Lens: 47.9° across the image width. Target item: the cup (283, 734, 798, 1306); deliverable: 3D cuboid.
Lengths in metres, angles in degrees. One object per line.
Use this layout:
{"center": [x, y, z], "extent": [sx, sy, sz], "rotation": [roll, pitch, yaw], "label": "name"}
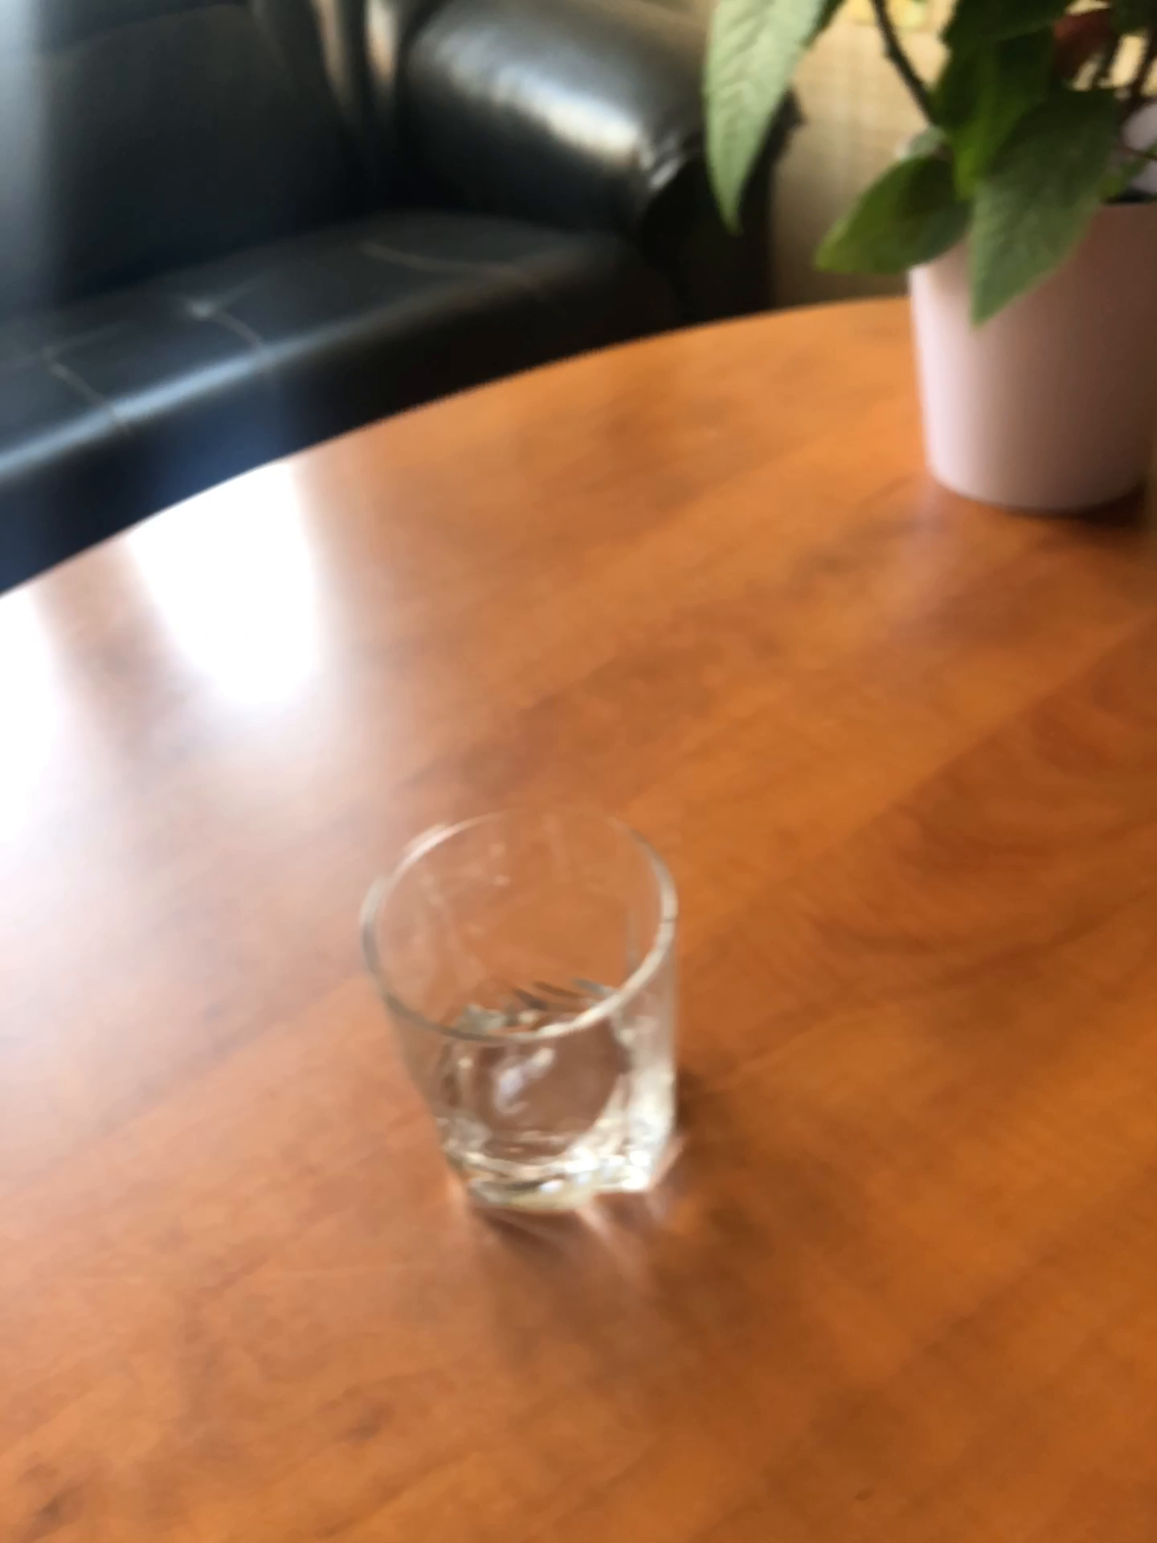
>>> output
{"center": [-0.004, 0.062, 0.348], "extent": [0.094, 0.086, 0.089], "rotation": [-4, 41, 4], "label": "cup"}
